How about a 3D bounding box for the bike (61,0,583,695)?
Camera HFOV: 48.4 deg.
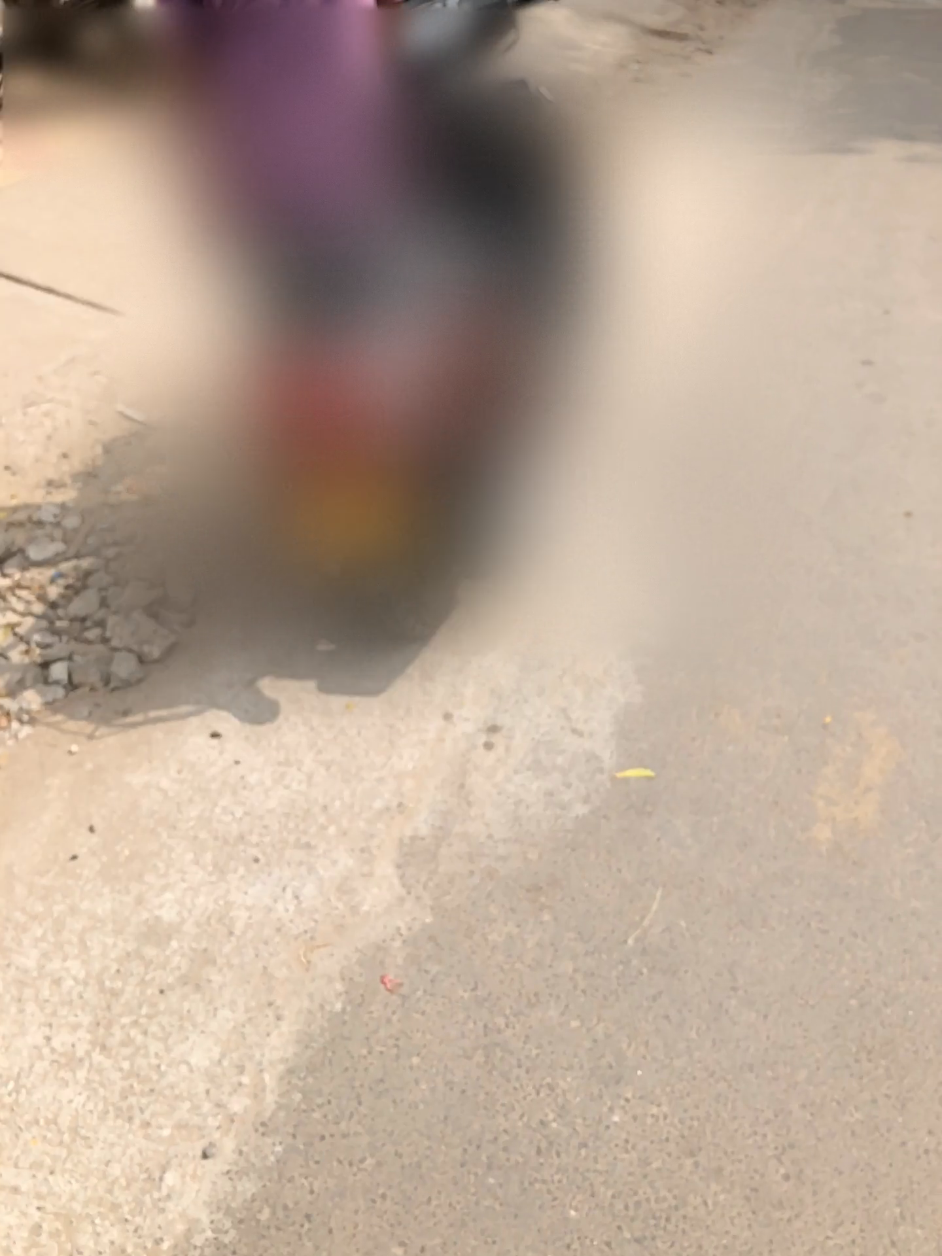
[{"bbox_3d":[-0.146,-0.841,2.488,0.674,1.125,1.626,4,38,8],"label":"bike"}]
